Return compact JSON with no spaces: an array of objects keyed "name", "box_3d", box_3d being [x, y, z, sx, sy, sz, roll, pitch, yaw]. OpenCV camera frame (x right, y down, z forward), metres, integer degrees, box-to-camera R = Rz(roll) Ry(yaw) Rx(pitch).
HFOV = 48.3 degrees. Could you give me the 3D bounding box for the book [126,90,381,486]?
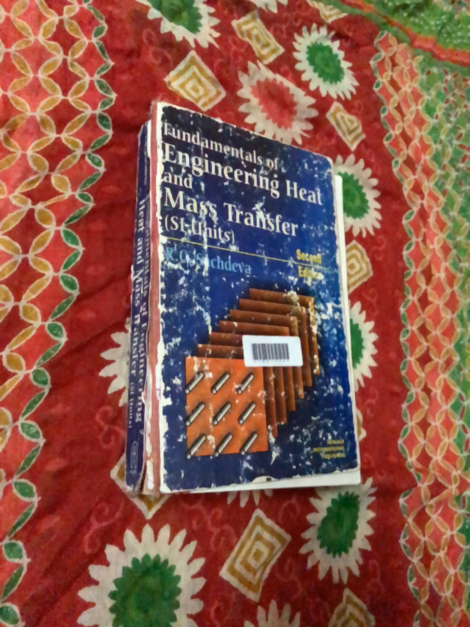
[{"name":"book","box_3d":[0.012,-0.012,0.326,0.151,0.043,0.209,5,77,-31]}]
